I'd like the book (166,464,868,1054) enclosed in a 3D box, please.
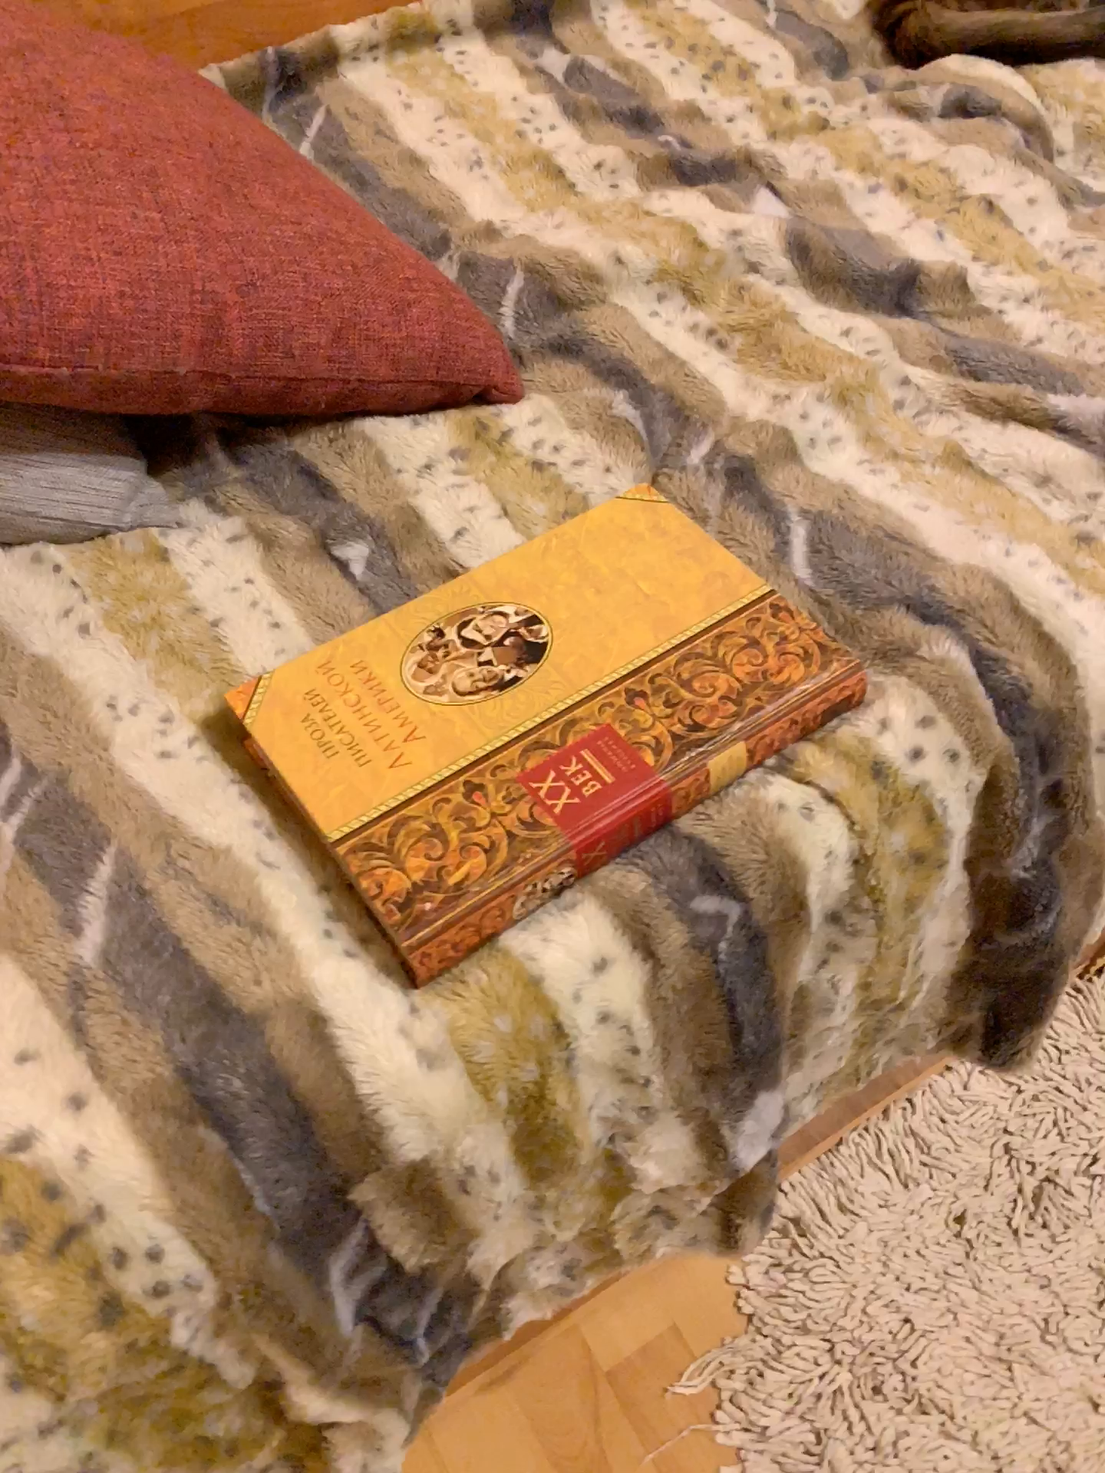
[{"bbox_3d":[-0.015,-0.007,0.545,0.271,0.060,0.181,-31,58,-20],"label":"book"}]
